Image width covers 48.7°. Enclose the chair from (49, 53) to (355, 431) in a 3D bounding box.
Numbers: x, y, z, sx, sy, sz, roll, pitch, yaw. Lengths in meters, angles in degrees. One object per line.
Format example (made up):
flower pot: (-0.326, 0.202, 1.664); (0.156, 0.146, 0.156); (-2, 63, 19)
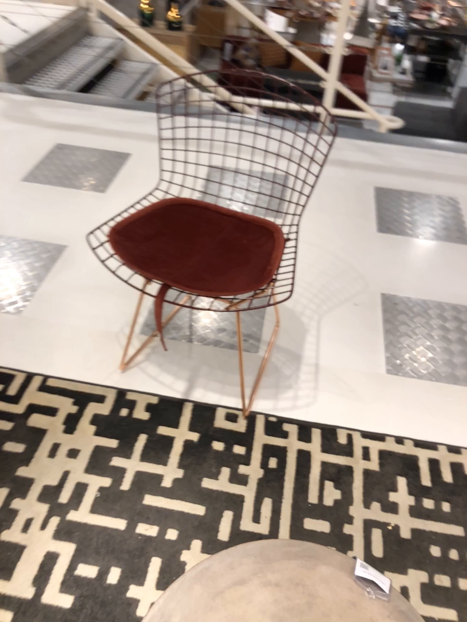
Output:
chair: (-0.062, -0.184, 1.407); (0.510, 0.764, 0.503); (19, 44, 15)
